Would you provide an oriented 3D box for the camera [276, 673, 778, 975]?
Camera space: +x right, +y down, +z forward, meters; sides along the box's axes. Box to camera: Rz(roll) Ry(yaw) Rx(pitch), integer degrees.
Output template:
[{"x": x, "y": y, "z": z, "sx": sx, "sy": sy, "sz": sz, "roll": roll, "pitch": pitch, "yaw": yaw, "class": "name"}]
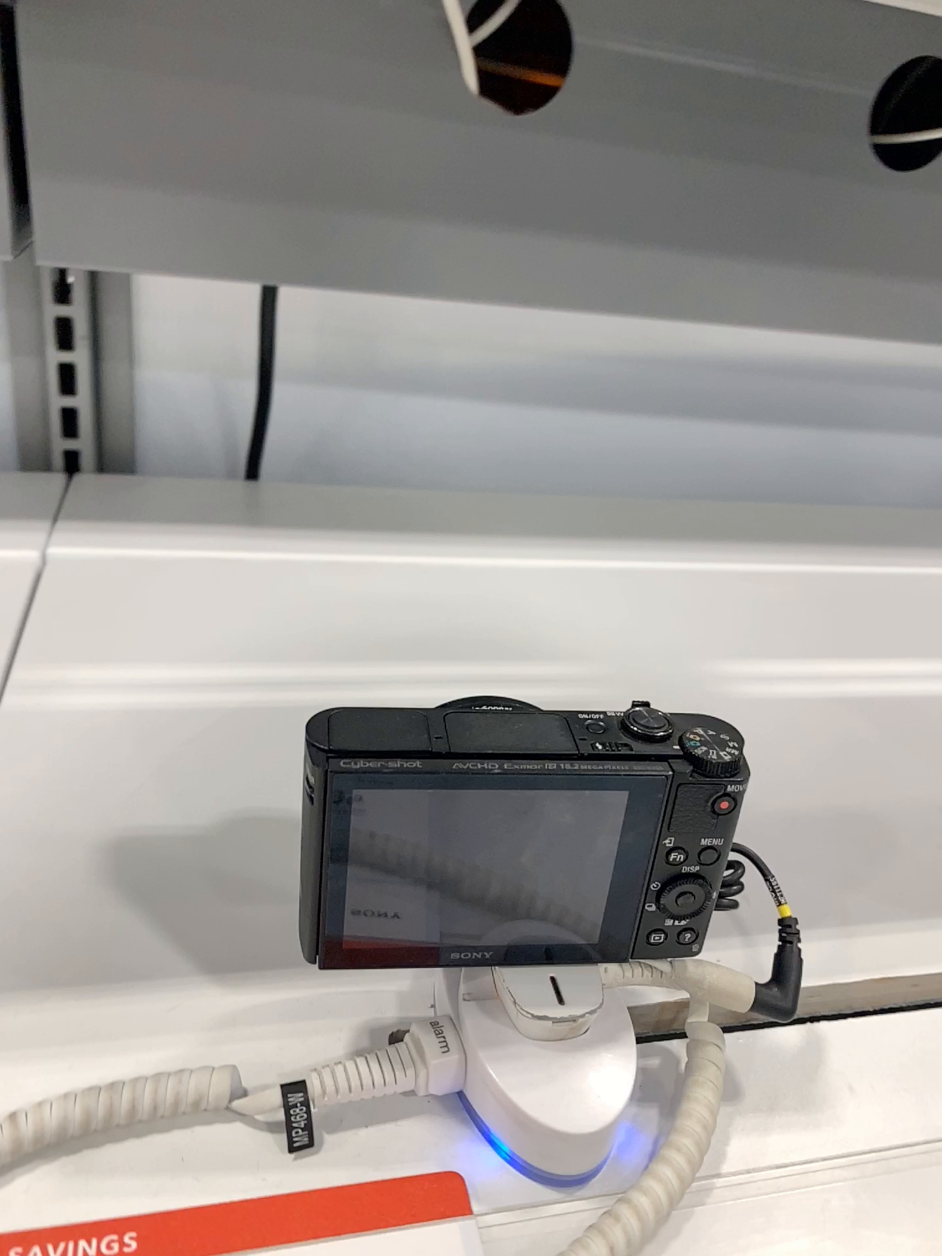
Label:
[{"x": 0.009, "y": 0.045, "z": 0.230, "sx": 0.104, "sy": 0.052, "sz": 0.040, "roll": 3, "pitch": 27, "yaw": -12, "class": "camera"}]
